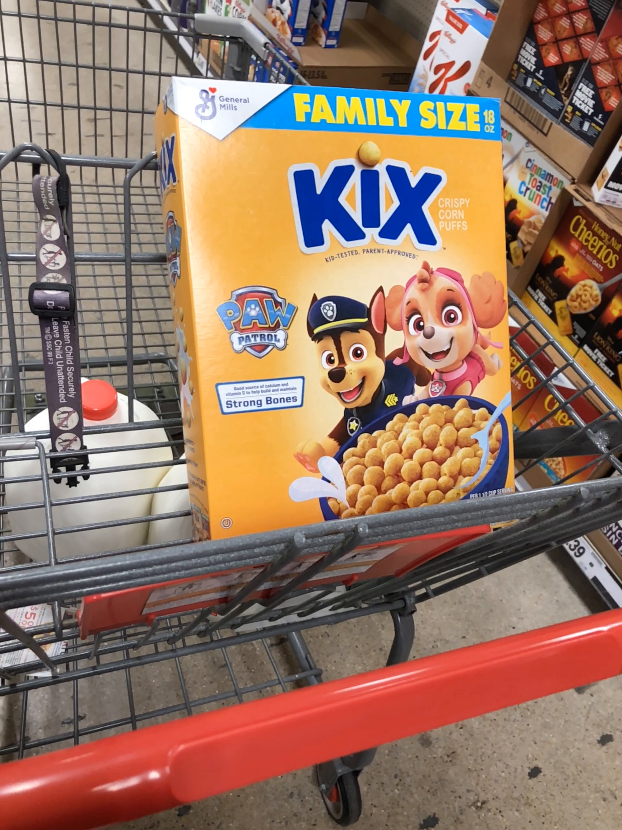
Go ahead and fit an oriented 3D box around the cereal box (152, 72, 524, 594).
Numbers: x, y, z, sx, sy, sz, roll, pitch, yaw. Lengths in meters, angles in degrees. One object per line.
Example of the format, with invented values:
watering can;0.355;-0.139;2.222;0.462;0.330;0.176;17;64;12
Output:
cereal box;0.025;-0.060;0.517;0.250;0.330;0.090;-5;8;-18
